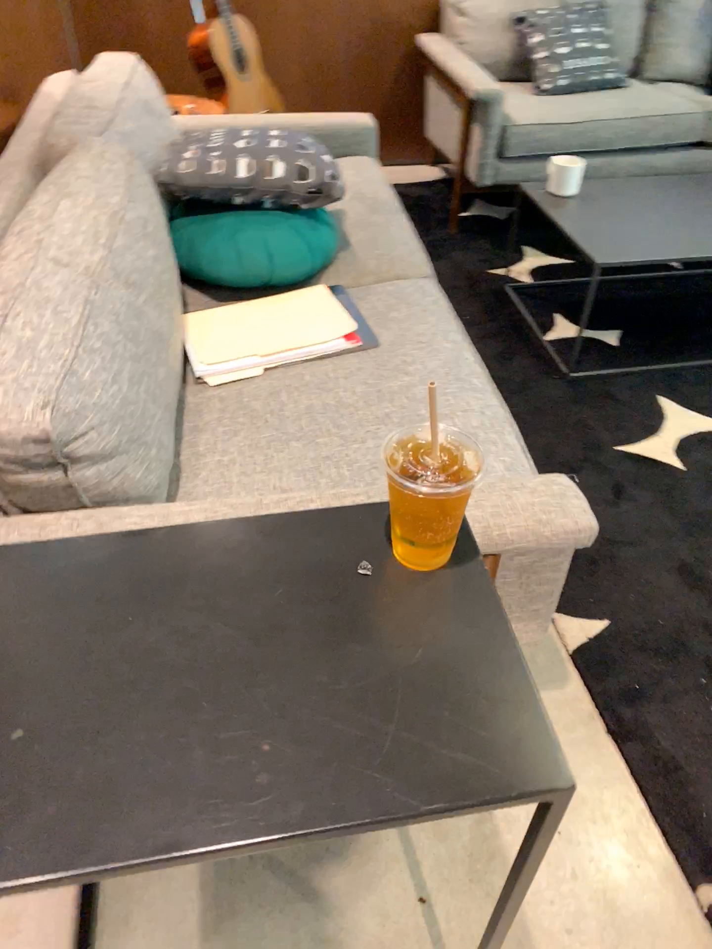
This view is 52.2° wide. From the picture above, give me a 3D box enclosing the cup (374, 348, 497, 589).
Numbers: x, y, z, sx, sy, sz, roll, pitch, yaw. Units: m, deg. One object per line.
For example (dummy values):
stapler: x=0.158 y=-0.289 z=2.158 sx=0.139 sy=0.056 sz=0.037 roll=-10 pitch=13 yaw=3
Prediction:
cup: x=0.067 y=-0.001 z=0.639 sx=0.080 sy=0.189 sz=0.090 roll=8 pitch=42 yaw=8
